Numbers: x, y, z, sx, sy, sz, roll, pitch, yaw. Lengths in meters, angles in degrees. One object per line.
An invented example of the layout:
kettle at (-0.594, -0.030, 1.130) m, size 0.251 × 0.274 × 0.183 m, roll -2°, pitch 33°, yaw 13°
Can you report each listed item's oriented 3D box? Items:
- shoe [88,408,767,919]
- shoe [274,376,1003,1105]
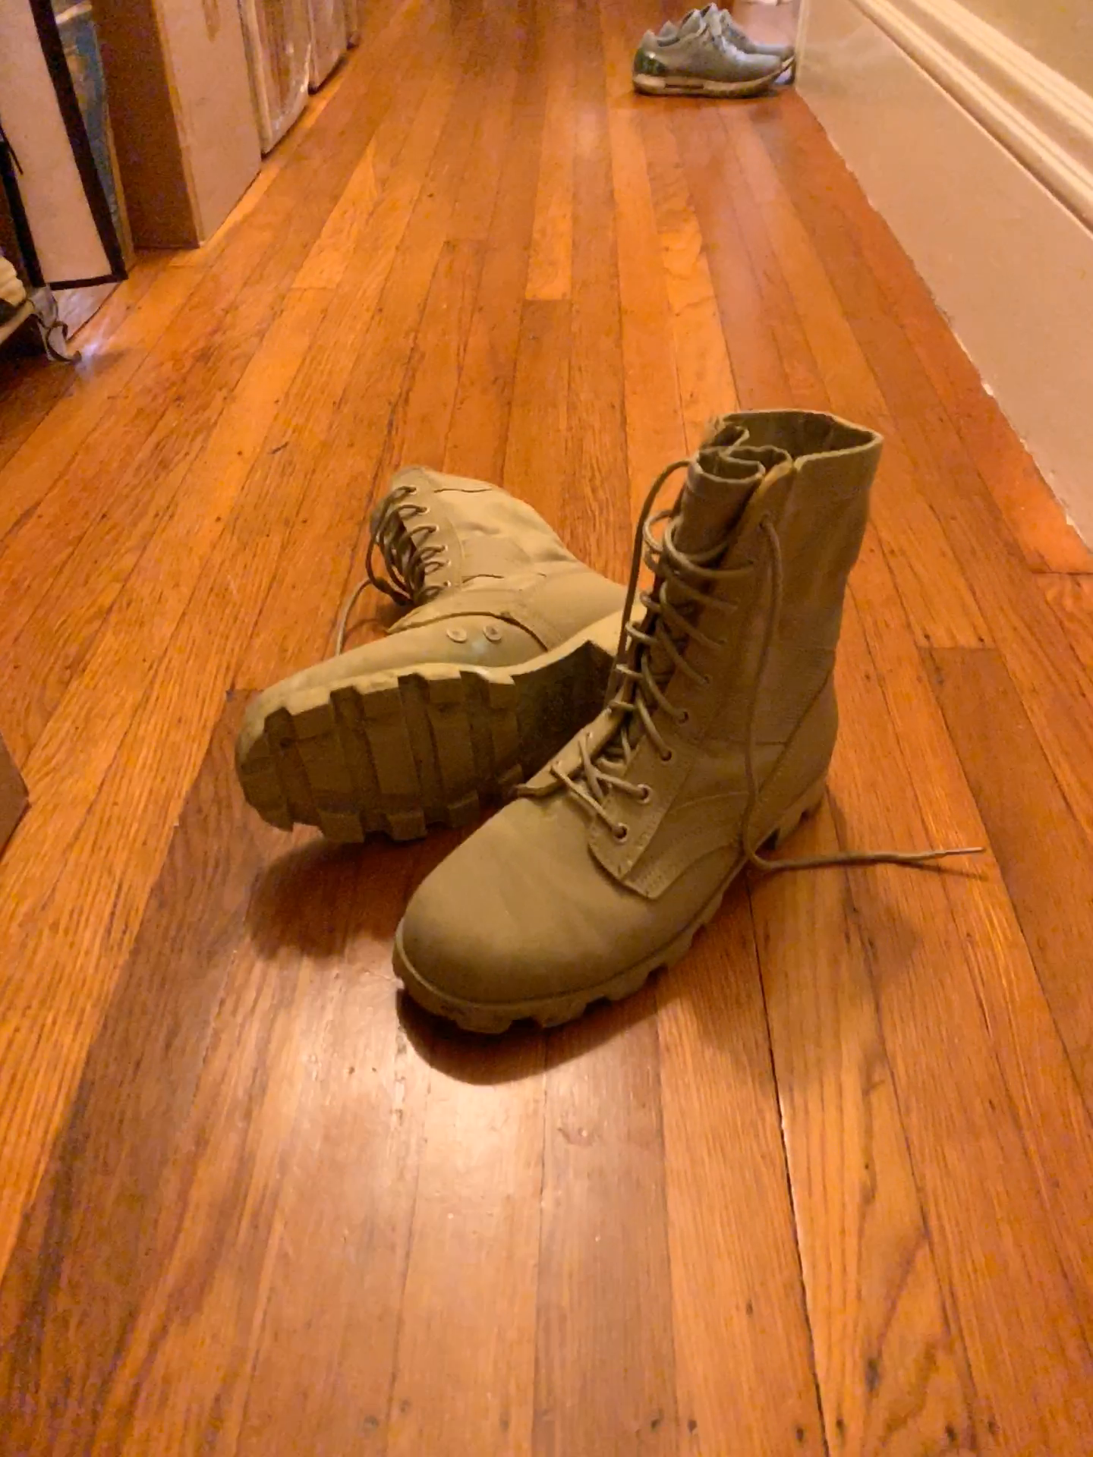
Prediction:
shoe at (-0.069, -0.067, 0.666) m, size 0.290 × 0.109 × 0.261 m, roll -27°, pitch 42°, yaw -29°
shoe at (0.048, -0.008, 0.513) m, size 0.290 × 0.199 × 0.121 m, roll -29°, pitch 49°, yaw -30°
